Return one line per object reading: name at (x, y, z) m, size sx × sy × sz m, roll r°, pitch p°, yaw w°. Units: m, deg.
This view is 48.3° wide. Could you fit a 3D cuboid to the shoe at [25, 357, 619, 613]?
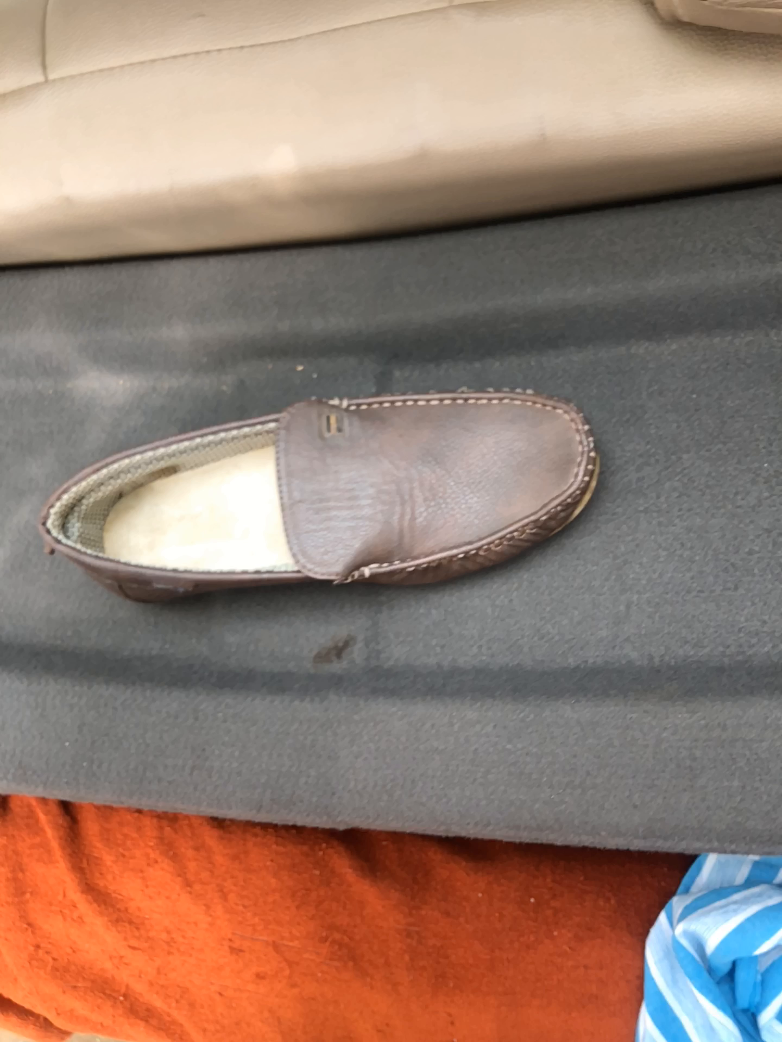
shoe at (-0.034, -0.010, 0.397) m, size 0.260 × 0.050 × 0.080 m, roll -5°, pitch 71°, yaw 15°
